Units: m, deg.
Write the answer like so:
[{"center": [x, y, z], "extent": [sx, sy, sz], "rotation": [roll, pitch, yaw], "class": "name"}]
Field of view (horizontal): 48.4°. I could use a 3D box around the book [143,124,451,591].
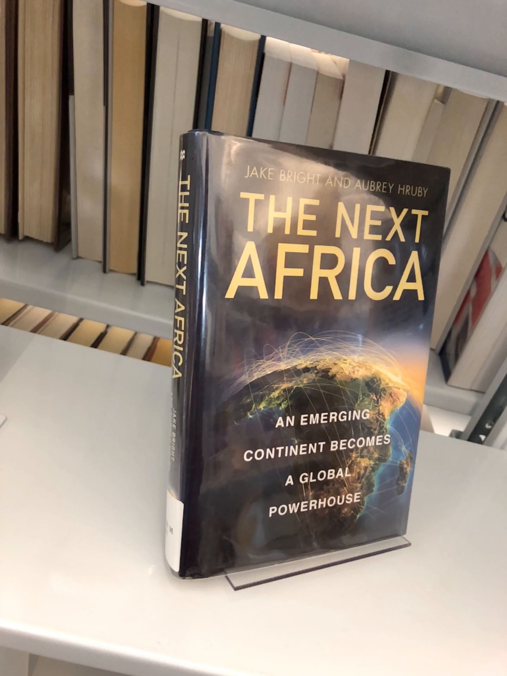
[{"center": [0.024, 0.012, 0.298], "extent": [0.153, 0.211, 0.030], "rotation": [-1, 10, -26], "class": "book"}]
